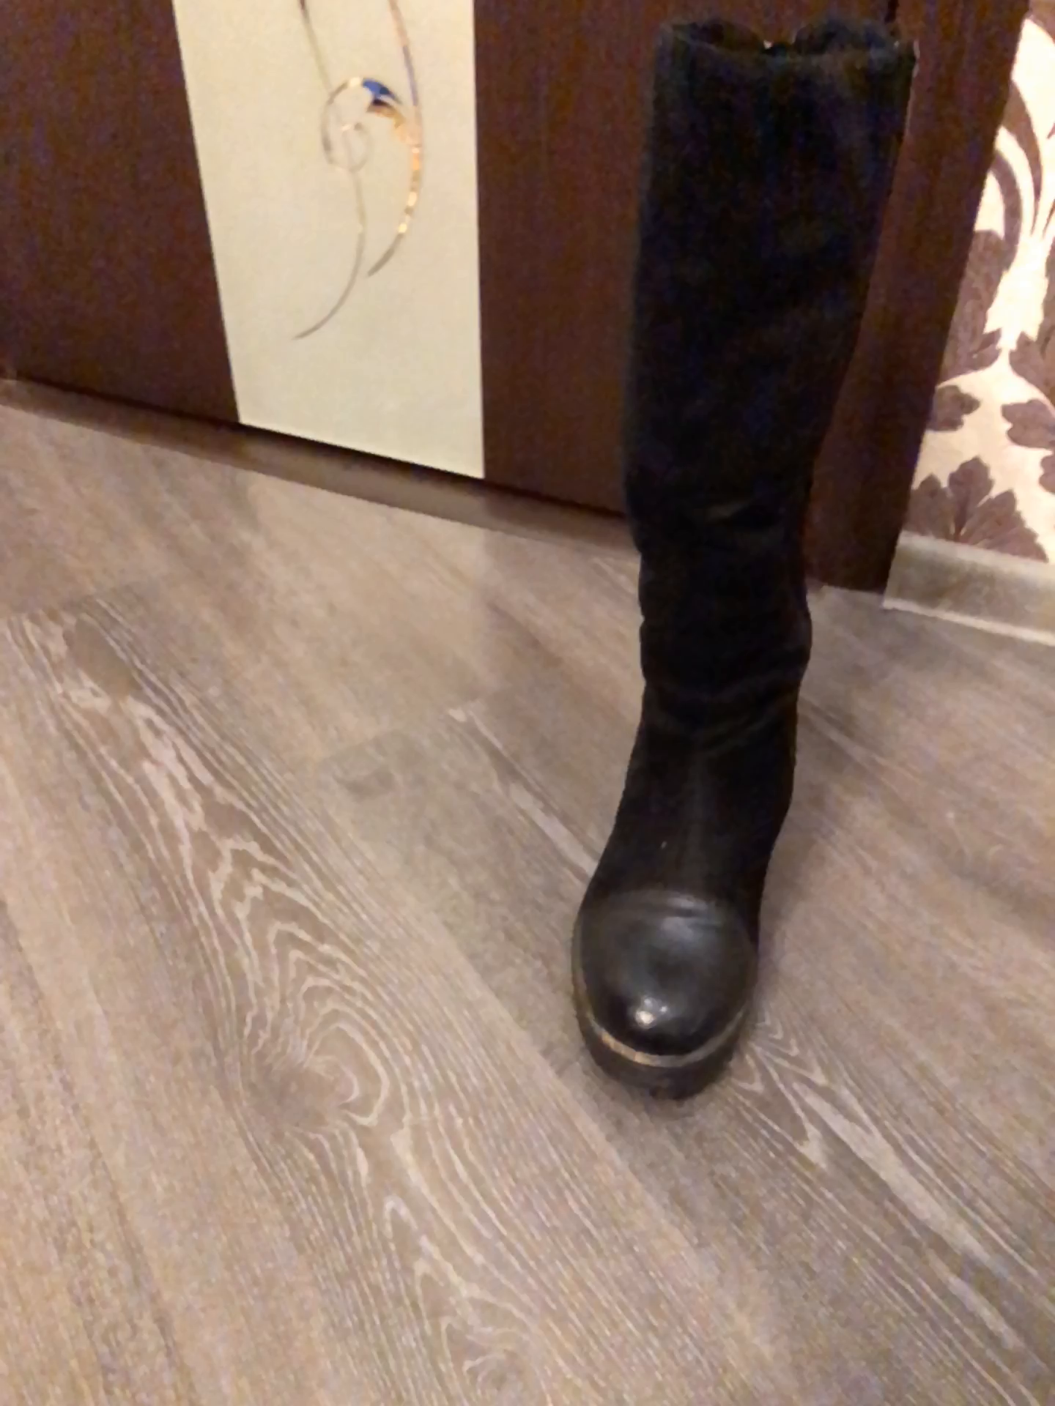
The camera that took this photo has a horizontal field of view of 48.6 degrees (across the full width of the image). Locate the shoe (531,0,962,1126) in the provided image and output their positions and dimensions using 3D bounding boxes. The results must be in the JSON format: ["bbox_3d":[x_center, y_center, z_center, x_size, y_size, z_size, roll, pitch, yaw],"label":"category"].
[{"bbox_3d":[0.081,-0.054,0.502,0.100,0.407,0.252,9,39,11],"label":"shoe"}]
